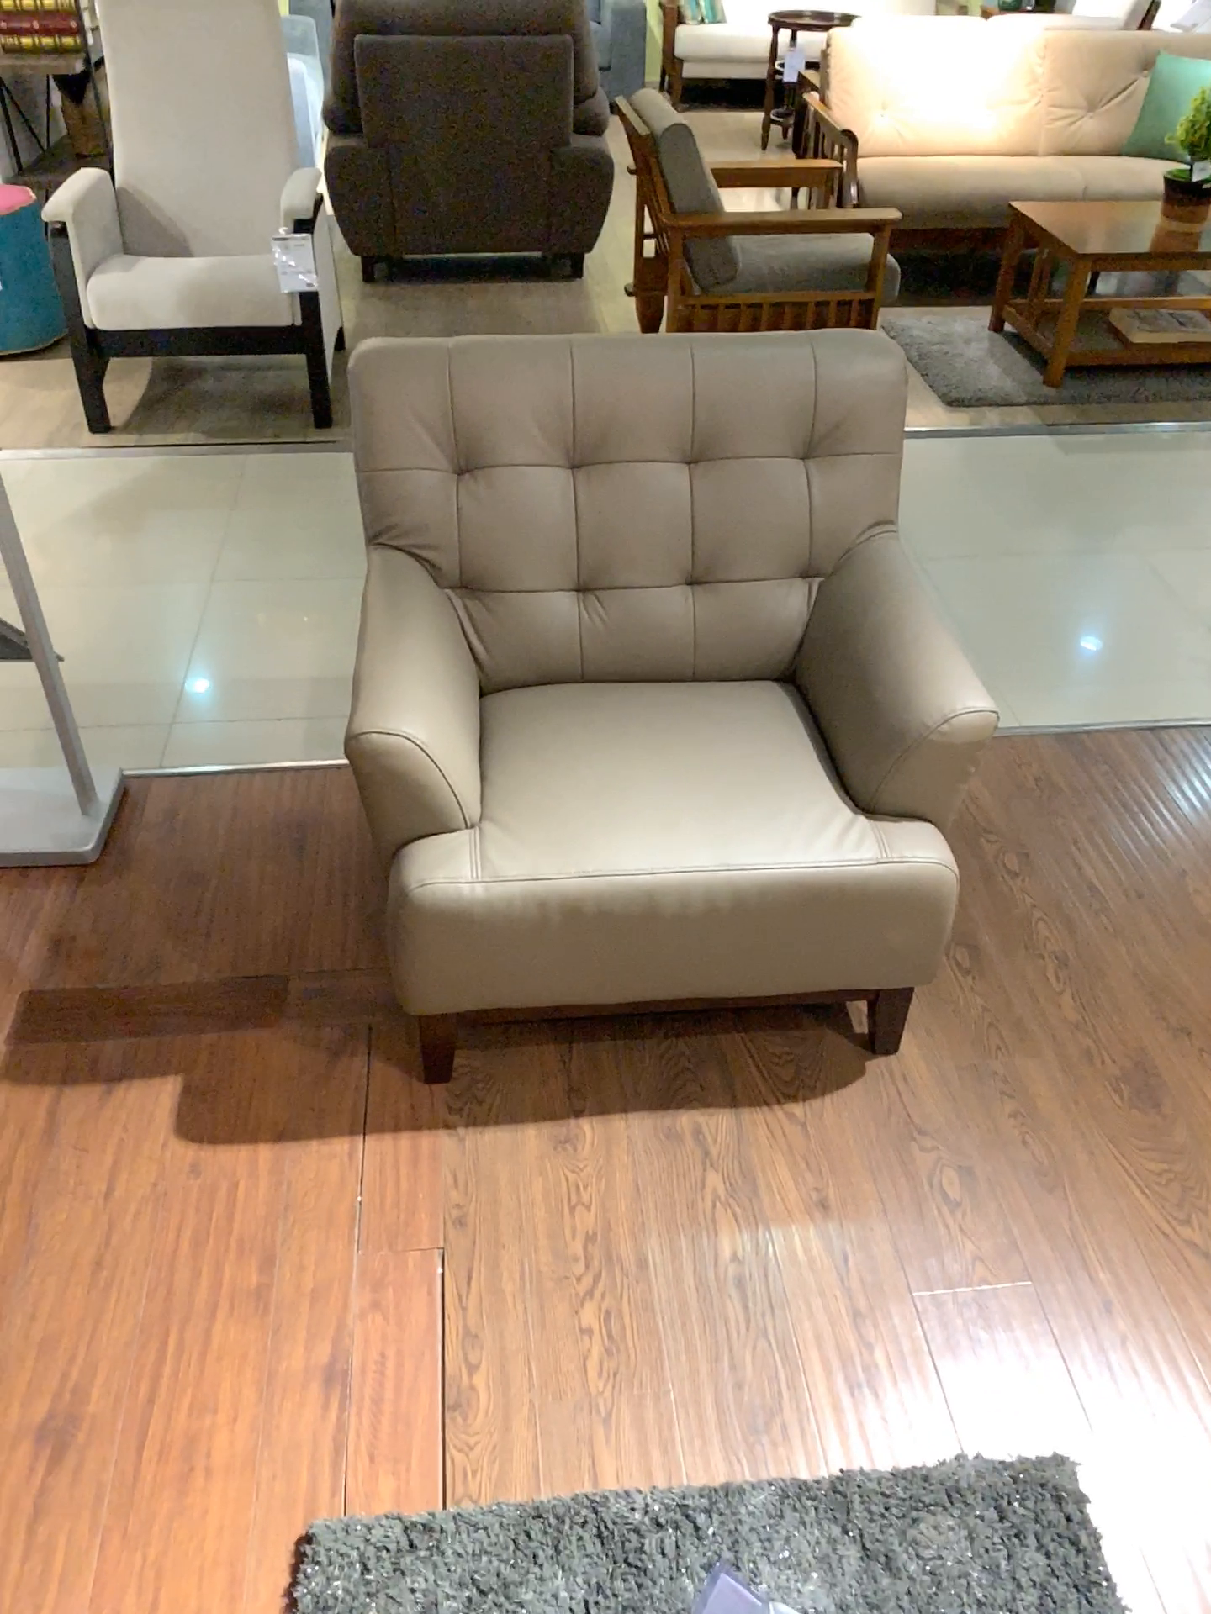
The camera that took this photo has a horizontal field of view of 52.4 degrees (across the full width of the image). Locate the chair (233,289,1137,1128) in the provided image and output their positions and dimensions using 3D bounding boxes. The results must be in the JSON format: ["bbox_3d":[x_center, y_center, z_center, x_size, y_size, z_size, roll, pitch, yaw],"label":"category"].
[{"bbox_3d":[0.030,-0.214,1.931,0.950,0.857,1.004,-3,39,-6],"label":"chair"}]
